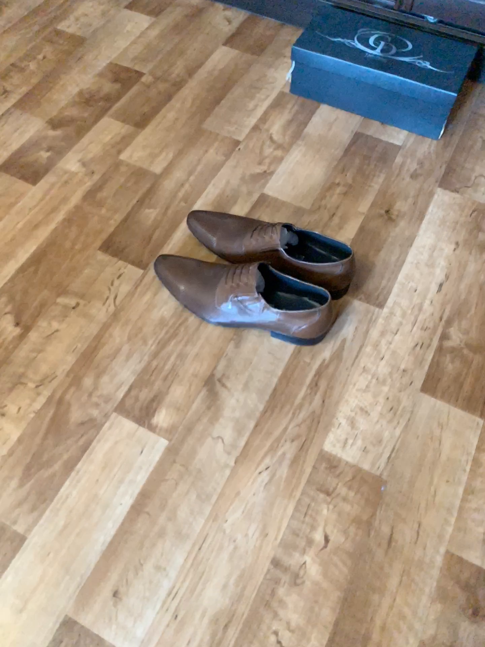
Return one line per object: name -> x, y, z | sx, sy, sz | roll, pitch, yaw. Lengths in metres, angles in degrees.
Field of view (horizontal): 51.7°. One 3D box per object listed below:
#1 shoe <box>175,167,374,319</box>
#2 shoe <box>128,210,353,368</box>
shoe -> 0.048, -0.136, 0.841 | 0.300, 0.120, 0.100 | 24, 64, 13
shoe -> -0.004, -0.055, 0.772 | 0.310, 0.100, 0.110 | 21, 63, 11
